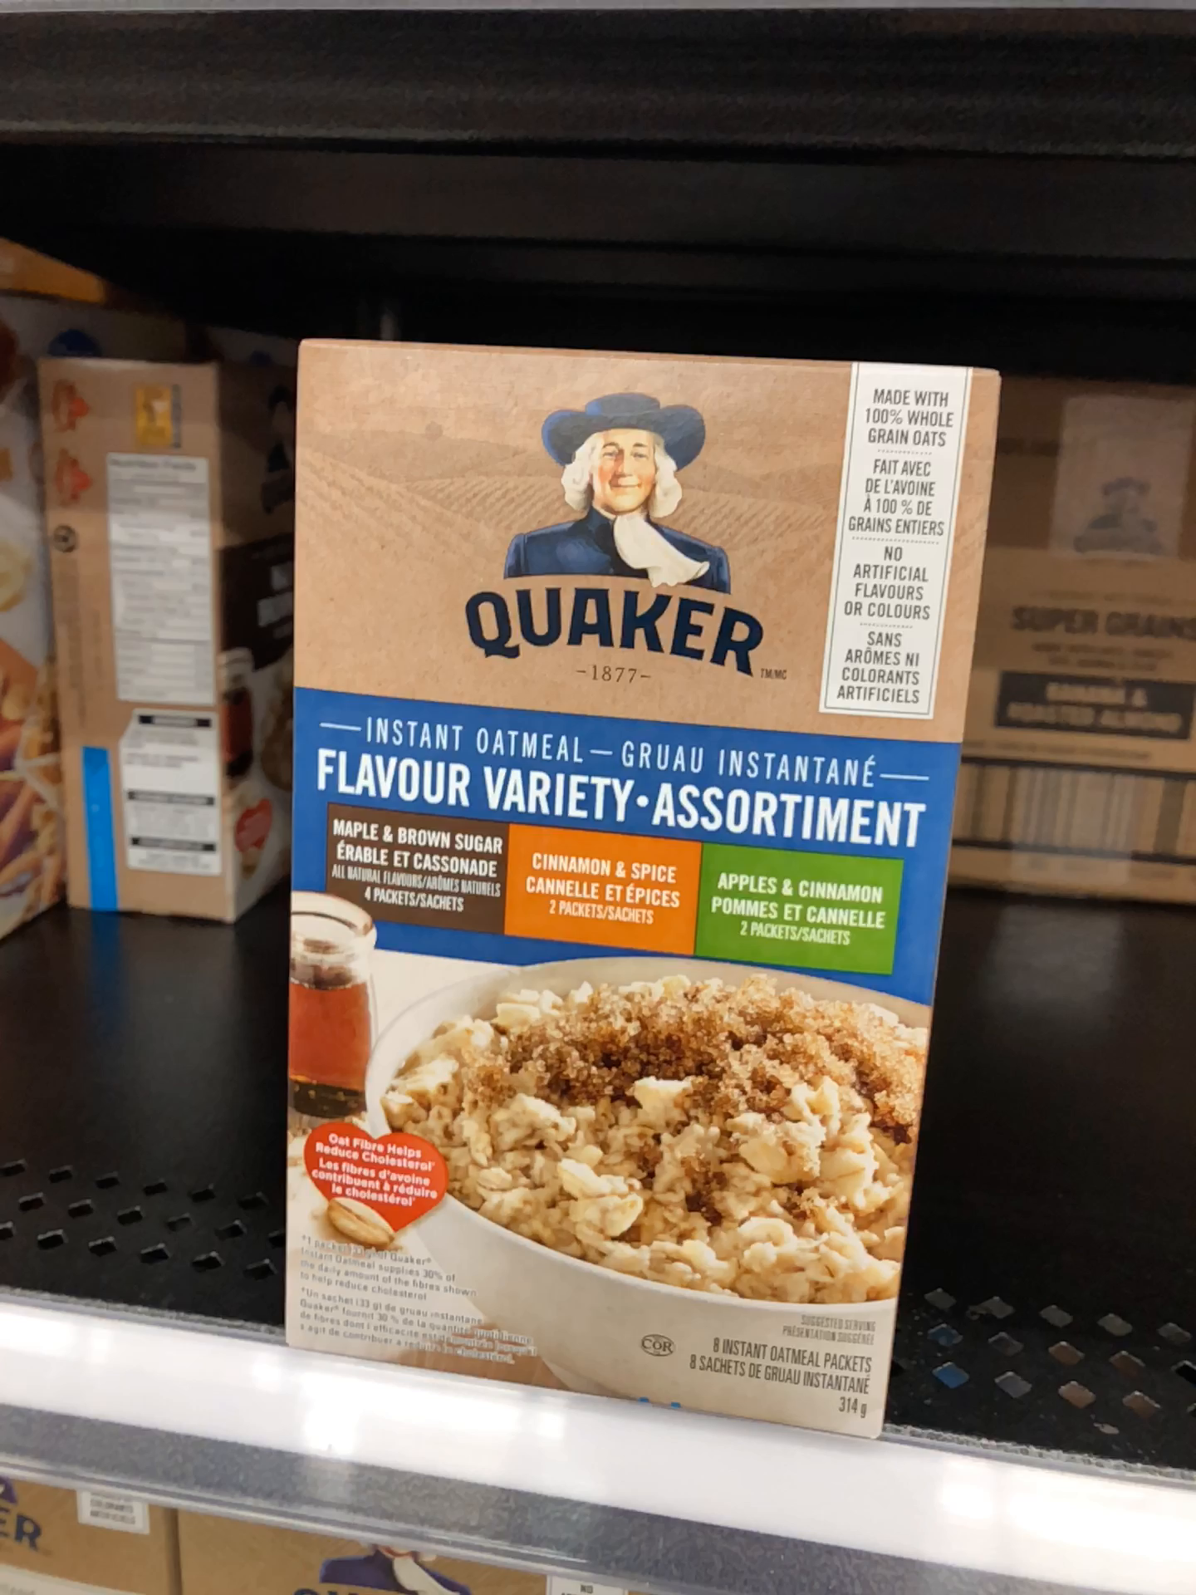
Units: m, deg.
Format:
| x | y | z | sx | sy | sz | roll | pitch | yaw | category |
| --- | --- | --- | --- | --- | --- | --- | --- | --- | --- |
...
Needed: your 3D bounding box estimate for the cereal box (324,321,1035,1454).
| x | y | z | sx | sy | sz | roll | pitch | yaw | category |
| --- | --- | --- | --- | --- | --- | --- | --- | --- | --- |
| 0.012 | 0.016 | 0.279 | 0.120 | 0.209 | 0.060 | 5 | 12 | 7 | cereal box |
